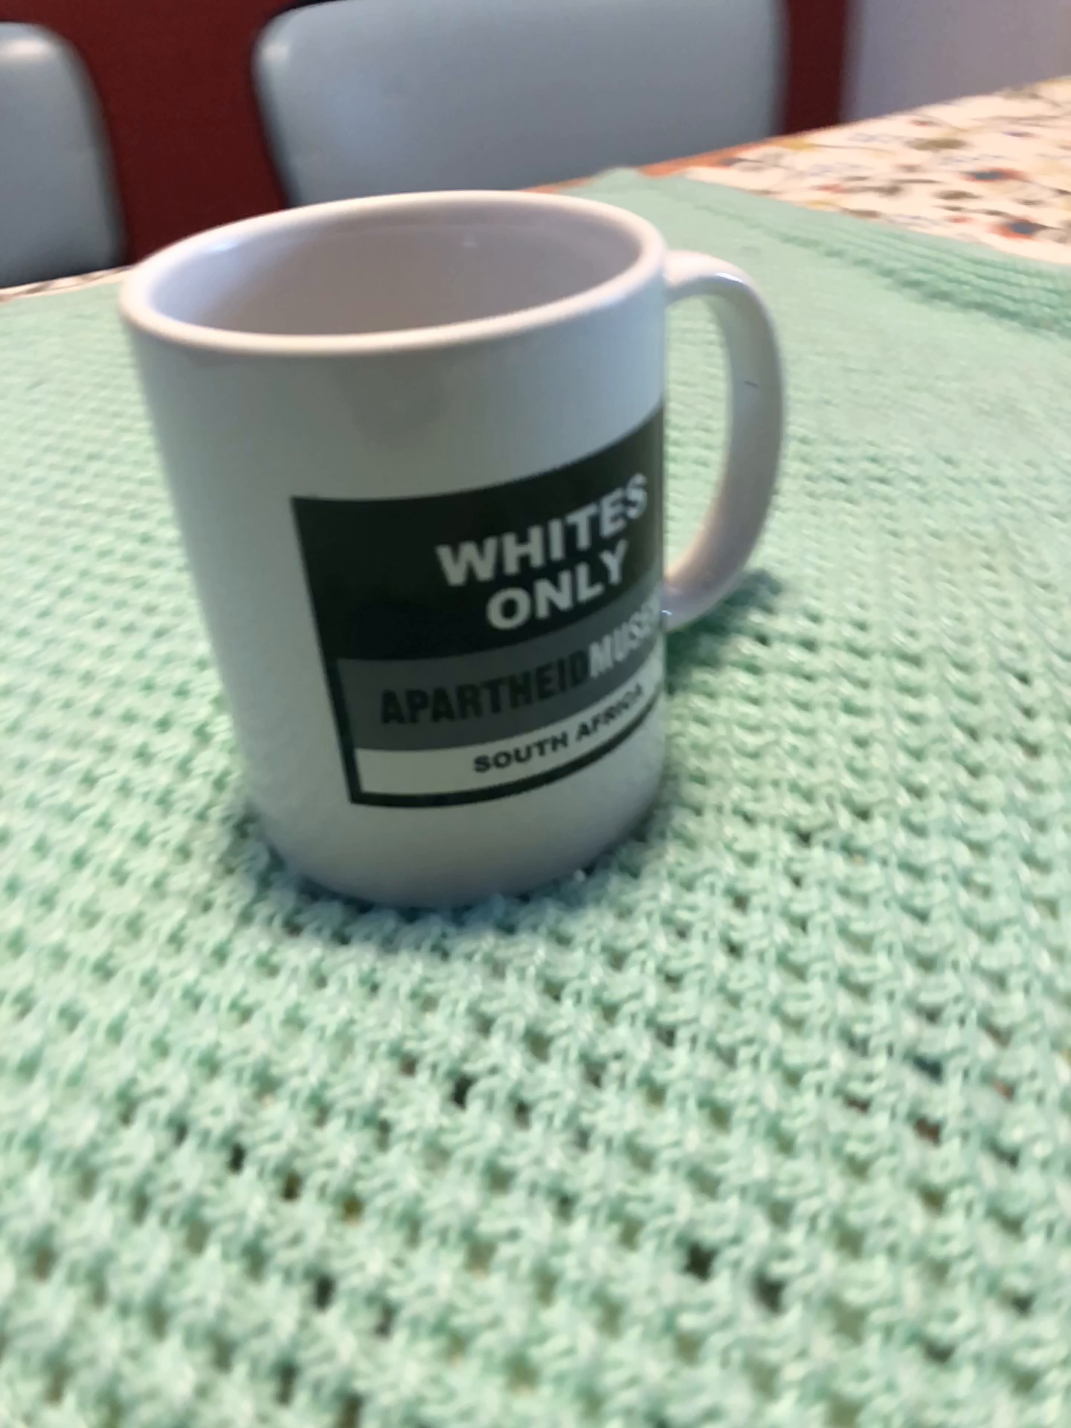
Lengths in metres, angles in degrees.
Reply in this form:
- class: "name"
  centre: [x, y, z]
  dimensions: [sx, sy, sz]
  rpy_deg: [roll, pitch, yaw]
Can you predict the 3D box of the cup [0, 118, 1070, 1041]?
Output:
- class: "cup"
  centre: [0.007, -0.039, 0.200]
  dimensions: [0.140, 0.079, 0.100]
  rpy_deg: [-27, 42, -28]
